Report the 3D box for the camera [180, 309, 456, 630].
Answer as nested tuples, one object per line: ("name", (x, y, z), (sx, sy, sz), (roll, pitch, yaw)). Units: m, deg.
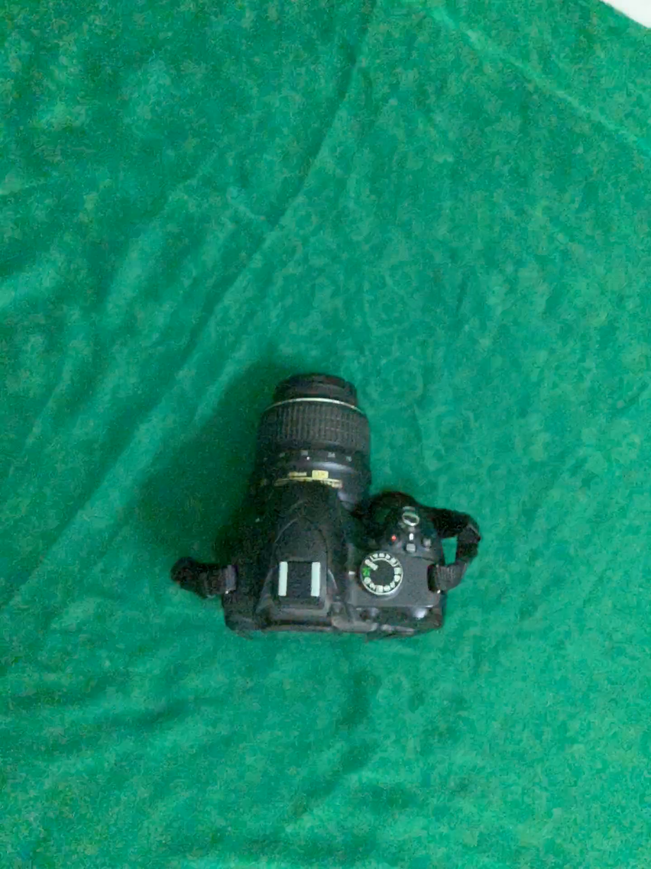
("camera", (-0.003, 0.027, 0.396), (0.133, 0.100, 0.166), (1, 73, -1))
